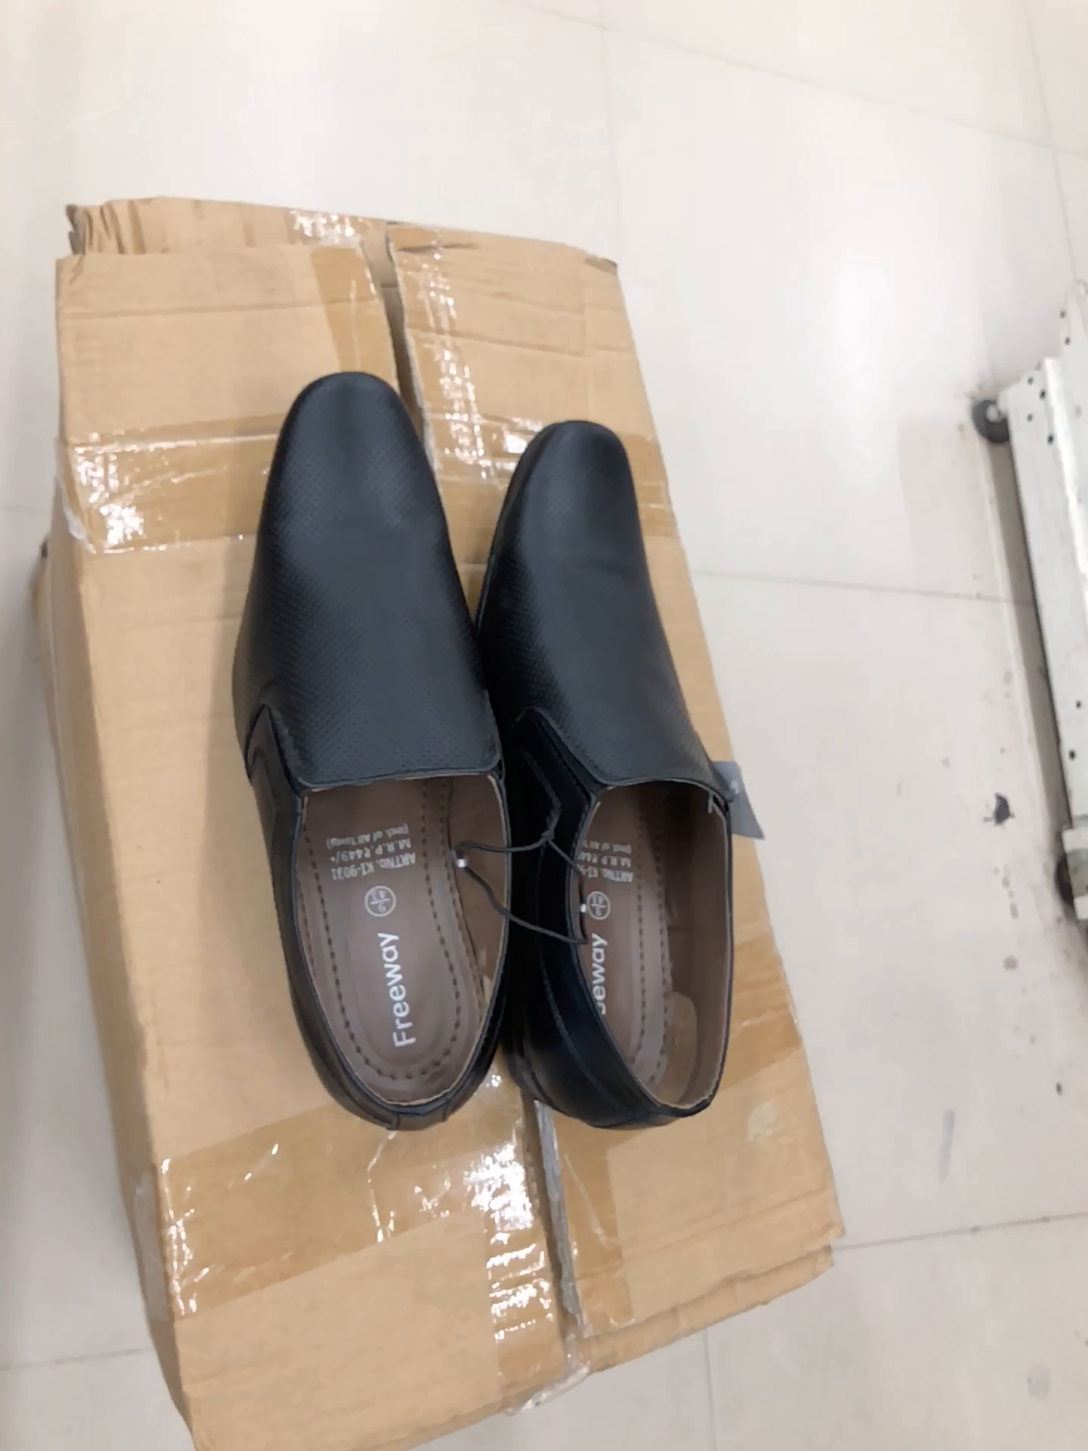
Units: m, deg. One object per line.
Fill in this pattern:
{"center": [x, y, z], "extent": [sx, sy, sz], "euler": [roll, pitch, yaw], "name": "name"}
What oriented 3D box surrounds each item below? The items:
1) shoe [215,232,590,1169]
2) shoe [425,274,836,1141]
{"center": [-0.064, -0.013, 0.458], "extent": [0.100, 0.100, 0.320], "euler": [-3, 76, -17], "name": "shoe"}
{"center": [0.026, -0.007, 0.496], "extent": [0.100, 0.100, 0.320], "euler": [2, 75, -26], "name": "shoe"}
